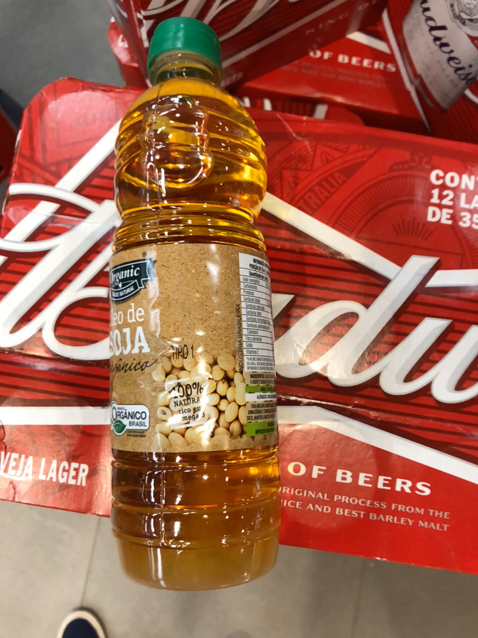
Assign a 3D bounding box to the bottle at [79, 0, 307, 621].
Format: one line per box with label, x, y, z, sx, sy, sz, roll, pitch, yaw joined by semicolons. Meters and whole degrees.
bottle;-0.022;-0.027;0.211;0.060;0.060;0.240;4;81;-38
